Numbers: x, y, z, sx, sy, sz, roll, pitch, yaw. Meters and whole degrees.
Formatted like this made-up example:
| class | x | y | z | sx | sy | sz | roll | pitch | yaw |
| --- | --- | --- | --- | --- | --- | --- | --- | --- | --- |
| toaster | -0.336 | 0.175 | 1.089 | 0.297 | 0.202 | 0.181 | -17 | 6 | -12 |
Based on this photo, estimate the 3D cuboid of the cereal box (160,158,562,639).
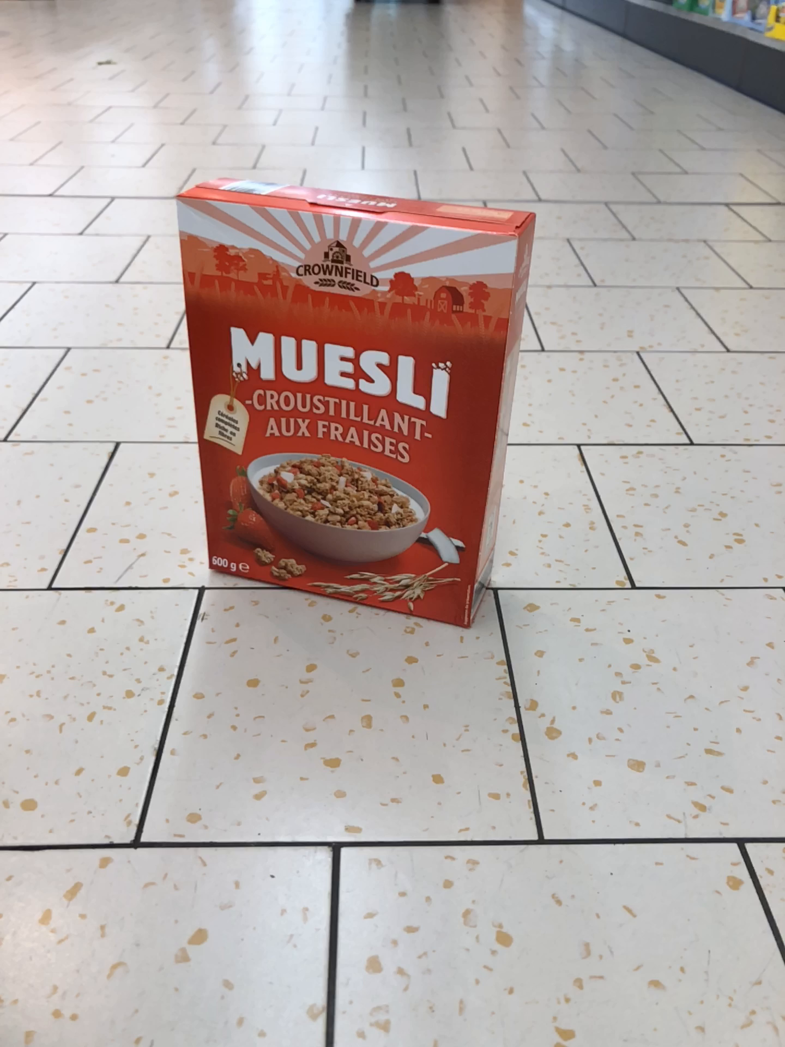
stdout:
| class | x | y | z | sx | sy | sz | roll | pitch | yaw |
| --- | --- | --- | --- | --- | --- | --- | --- | --- | --- |
| cereal box | -0.020 | -0.072 | 0.522 | 0.200 | 0.248 | 0.070 | 12 | 34 | 15 |
